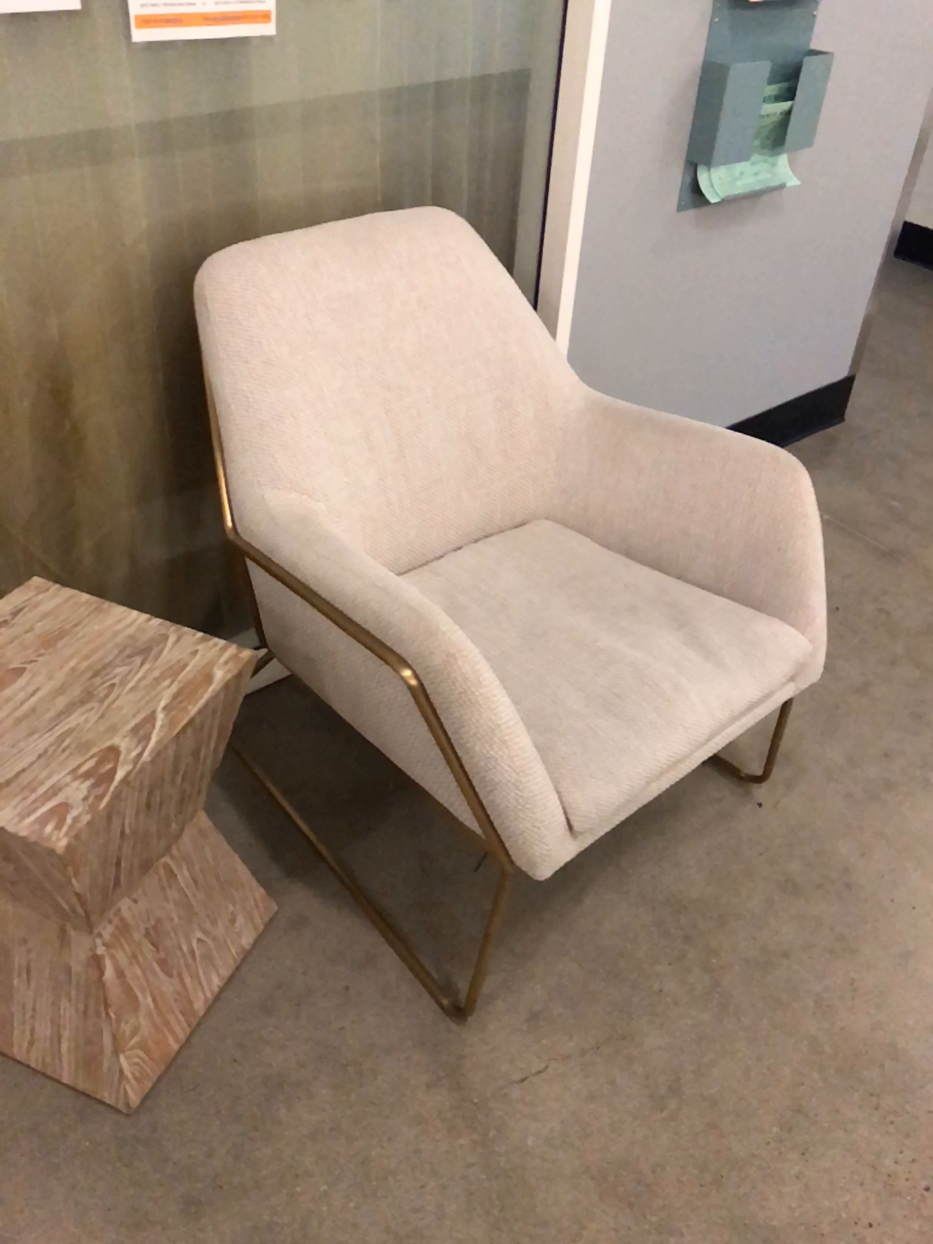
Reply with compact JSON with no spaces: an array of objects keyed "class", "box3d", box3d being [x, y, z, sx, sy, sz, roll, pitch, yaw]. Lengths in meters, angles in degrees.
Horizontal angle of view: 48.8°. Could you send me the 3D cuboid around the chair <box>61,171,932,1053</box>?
[{"class":"chair","box3d":[0.036,-0.126,1.601,0.832,0.816,0.893,-26,45,-35]}]
